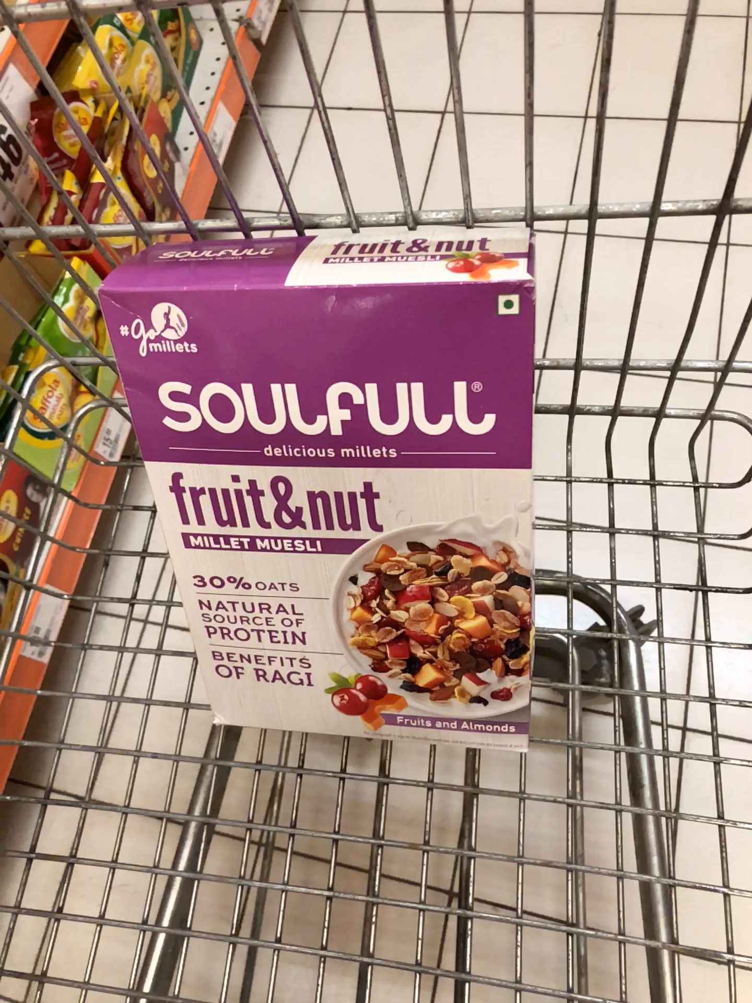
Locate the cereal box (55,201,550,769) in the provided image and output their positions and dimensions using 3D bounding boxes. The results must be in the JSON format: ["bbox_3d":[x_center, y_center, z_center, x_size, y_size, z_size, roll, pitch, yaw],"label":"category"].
[{"bbox_3d":[-0.014,0.003,0.369,0.170,0.239,0.070,2,33,11],"label":"cereal box"}]
